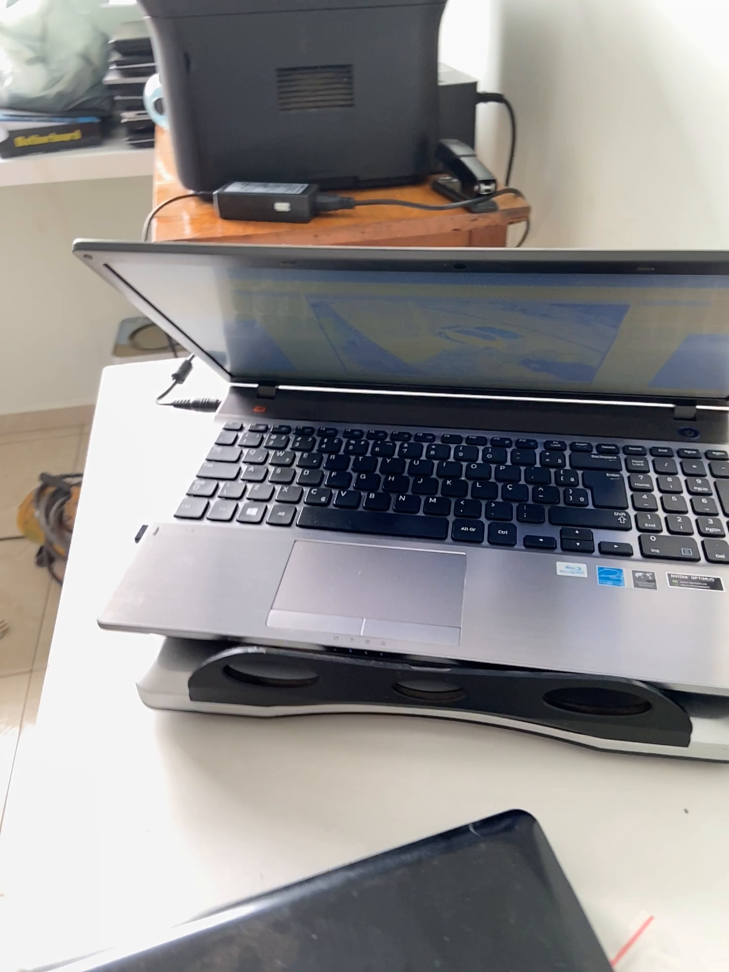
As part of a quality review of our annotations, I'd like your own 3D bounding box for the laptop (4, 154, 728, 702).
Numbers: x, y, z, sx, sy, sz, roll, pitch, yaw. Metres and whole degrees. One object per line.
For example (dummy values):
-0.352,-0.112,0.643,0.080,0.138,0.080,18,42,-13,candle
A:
0.053,-0.055,0.409,0.358,0.164,0.232,4,39,8,laptop
